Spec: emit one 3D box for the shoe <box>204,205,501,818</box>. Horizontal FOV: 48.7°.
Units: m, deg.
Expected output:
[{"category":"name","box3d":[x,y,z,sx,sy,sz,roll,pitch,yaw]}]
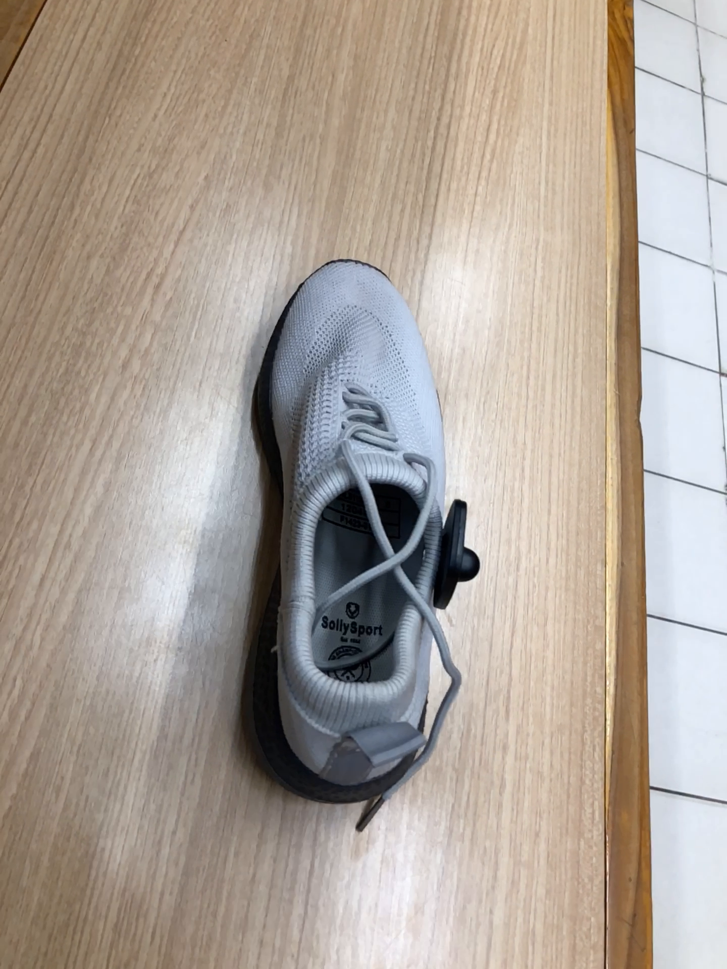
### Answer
[{"category":"shoe","box3d":[-0.004,0.013,0.392,0.100,0.099,0.271,10,64,-15]}]
